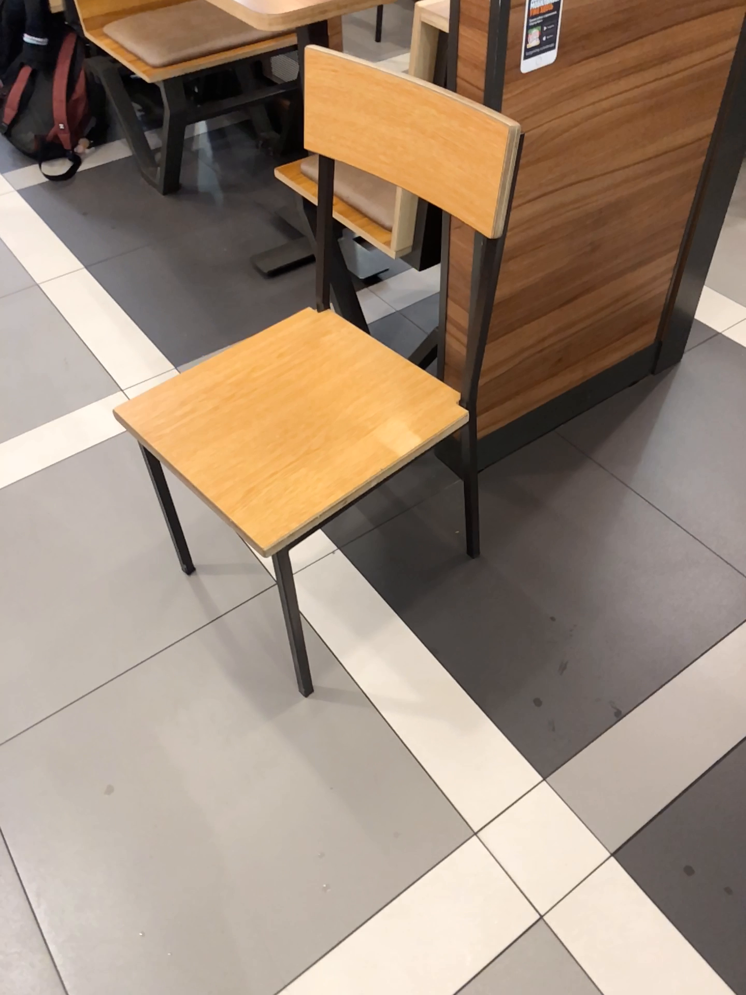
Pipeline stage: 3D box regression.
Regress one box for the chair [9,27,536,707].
[{"bbox_3d":[-0.108,-0.166,1.279,0.461,0.845,0.431,-36,55,-27],"label":"chair"}]
